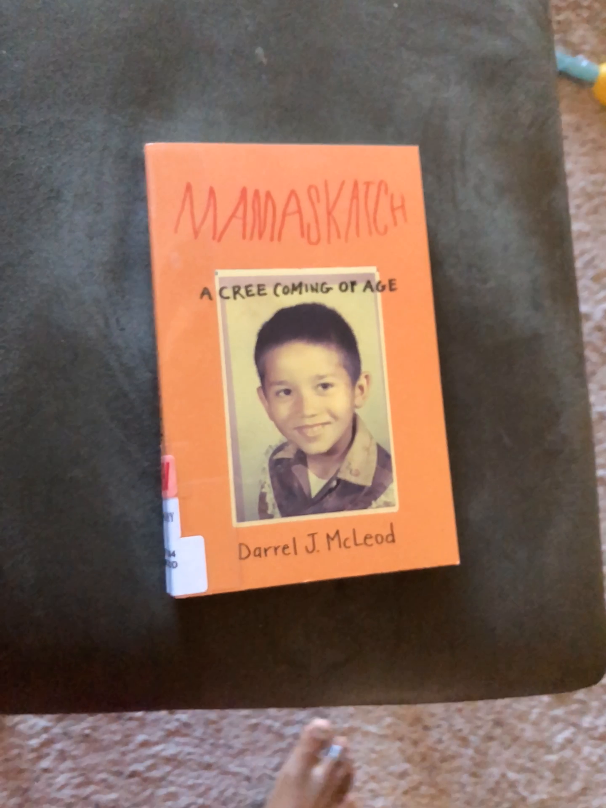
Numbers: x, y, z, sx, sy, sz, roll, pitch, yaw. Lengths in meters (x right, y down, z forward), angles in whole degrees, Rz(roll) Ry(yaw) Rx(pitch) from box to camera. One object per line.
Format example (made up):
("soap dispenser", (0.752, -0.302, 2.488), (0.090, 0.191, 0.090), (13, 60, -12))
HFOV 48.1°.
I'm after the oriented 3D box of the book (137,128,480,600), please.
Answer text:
("book", (0.001, -0.024, 0.344), (0.150, 0.040, 0.218), (-4, 87, -11))
